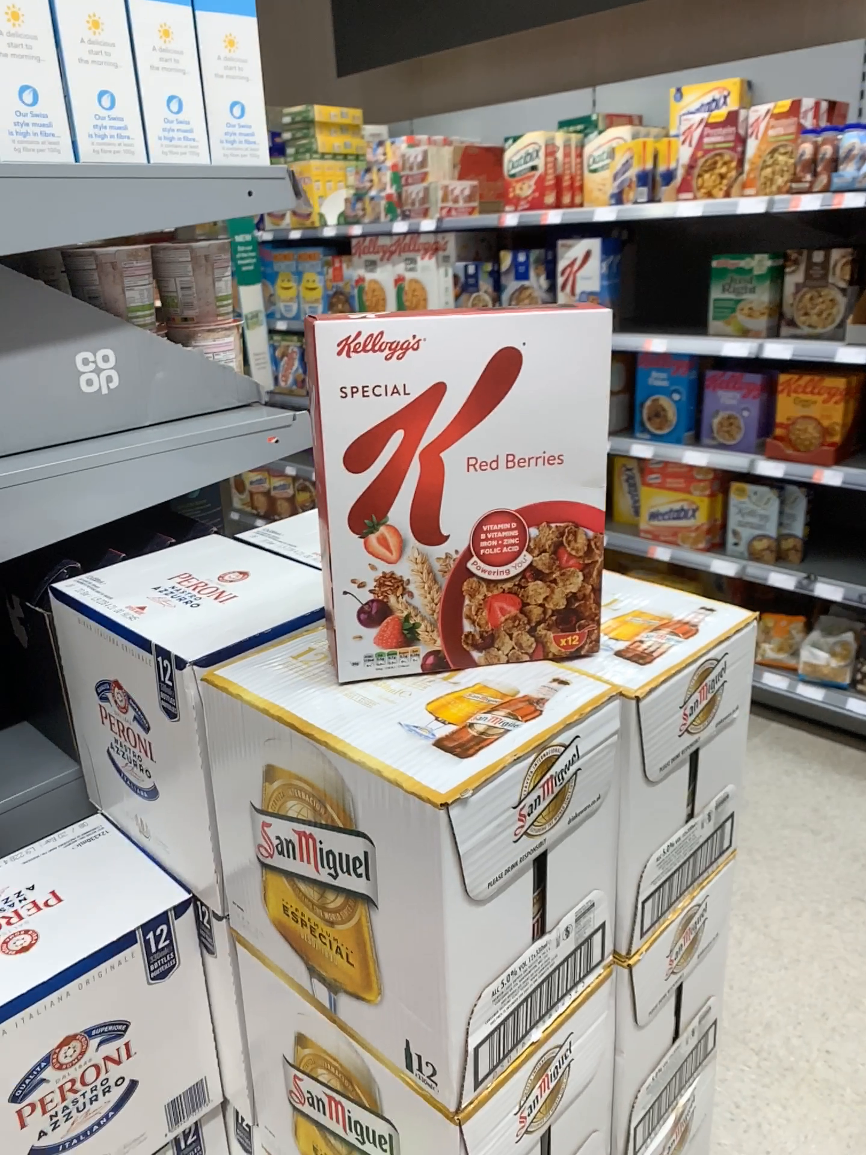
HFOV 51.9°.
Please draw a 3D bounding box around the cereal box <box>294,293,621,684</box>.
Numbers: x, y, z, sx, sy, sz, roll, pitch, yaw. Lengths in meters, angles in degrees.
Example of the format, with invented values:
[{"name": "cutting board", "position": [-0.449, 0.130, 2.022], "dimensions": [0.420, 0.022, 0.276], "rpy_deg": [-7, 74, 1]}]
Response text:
[{"name": "cereal box", "position": [0.018, -0.063, 0.607], "dimensions": [0.200, 0.238, 0.070], "rpy_deg": [-6, 18, -9]}]
